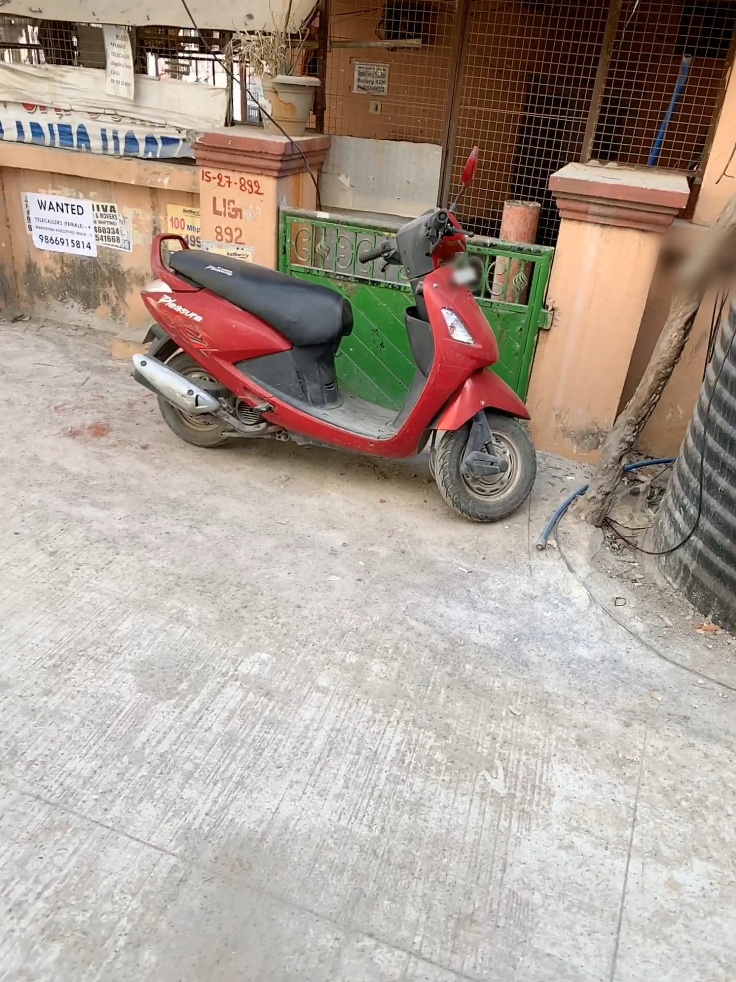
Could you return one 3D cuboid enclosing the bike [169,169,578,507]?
[{"bbox_3d":[0.031,-0.601,2.798,1.272,0.916,0.620,11,29,10],"label":"bike"}]
